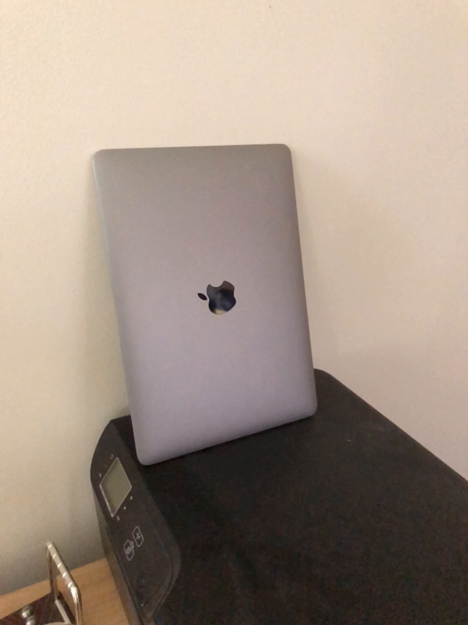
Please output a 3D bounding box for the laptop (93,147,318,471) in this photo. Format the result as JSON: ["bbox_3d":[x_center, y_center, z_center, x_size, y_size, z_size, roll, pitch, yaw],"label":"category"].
[{"bbox_3d":[-0.015,-0.012,0.495,0.196,0.275,0.002,-10,6,-26],"label":"laptop"}]
